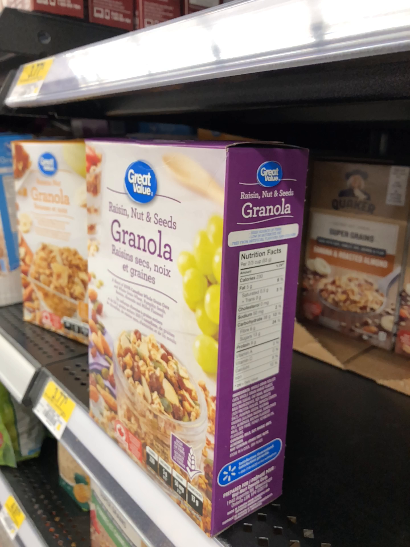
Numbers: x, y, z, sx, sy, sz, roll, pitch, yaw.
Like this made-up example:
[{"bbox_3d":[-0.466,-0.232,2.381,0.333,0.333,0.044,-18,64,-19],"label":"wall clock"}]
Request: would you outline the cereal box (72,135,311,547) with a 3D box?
[{"bbox_3d":[-0.022,0.024,0.307,0.060,0.219,0.161,-9,18,-38],"label":"cereal box"}]
